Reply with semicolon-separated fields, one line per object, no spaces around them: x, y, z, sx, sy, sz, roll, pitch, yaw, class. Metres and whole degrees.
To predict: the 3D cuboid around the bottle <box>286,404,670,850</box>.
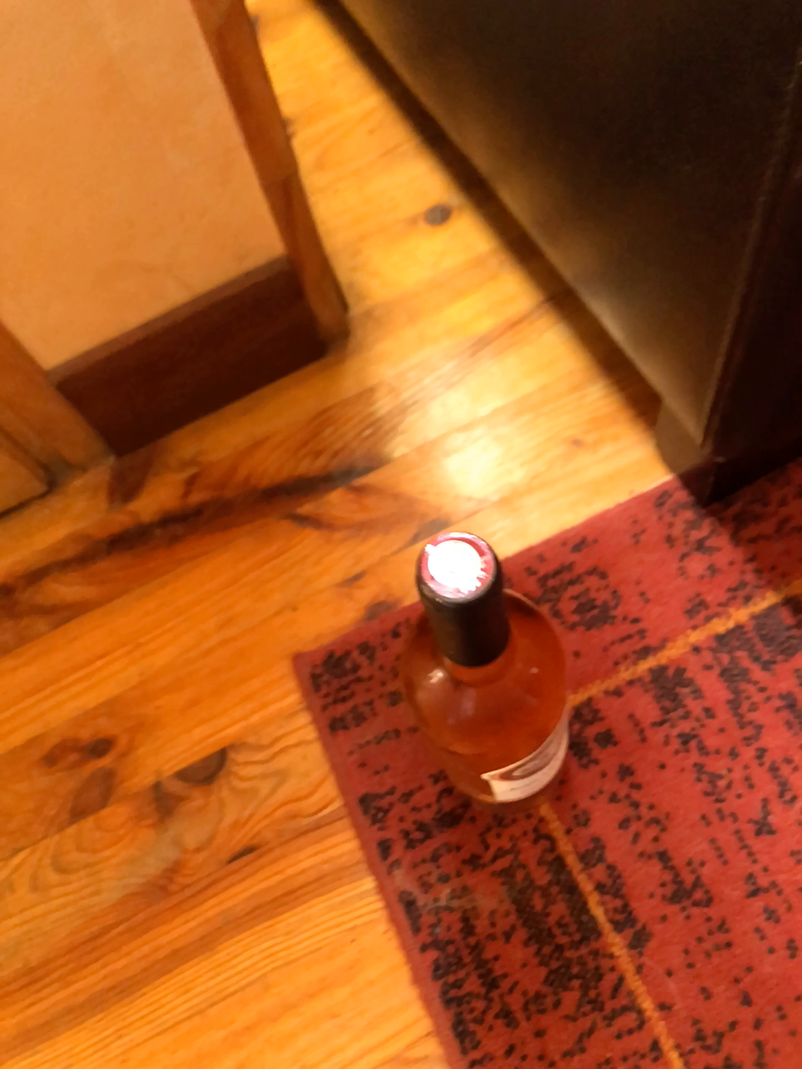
0.046;0.072;0.413;0.080;0.309;0.090;35;76;21;bottle
